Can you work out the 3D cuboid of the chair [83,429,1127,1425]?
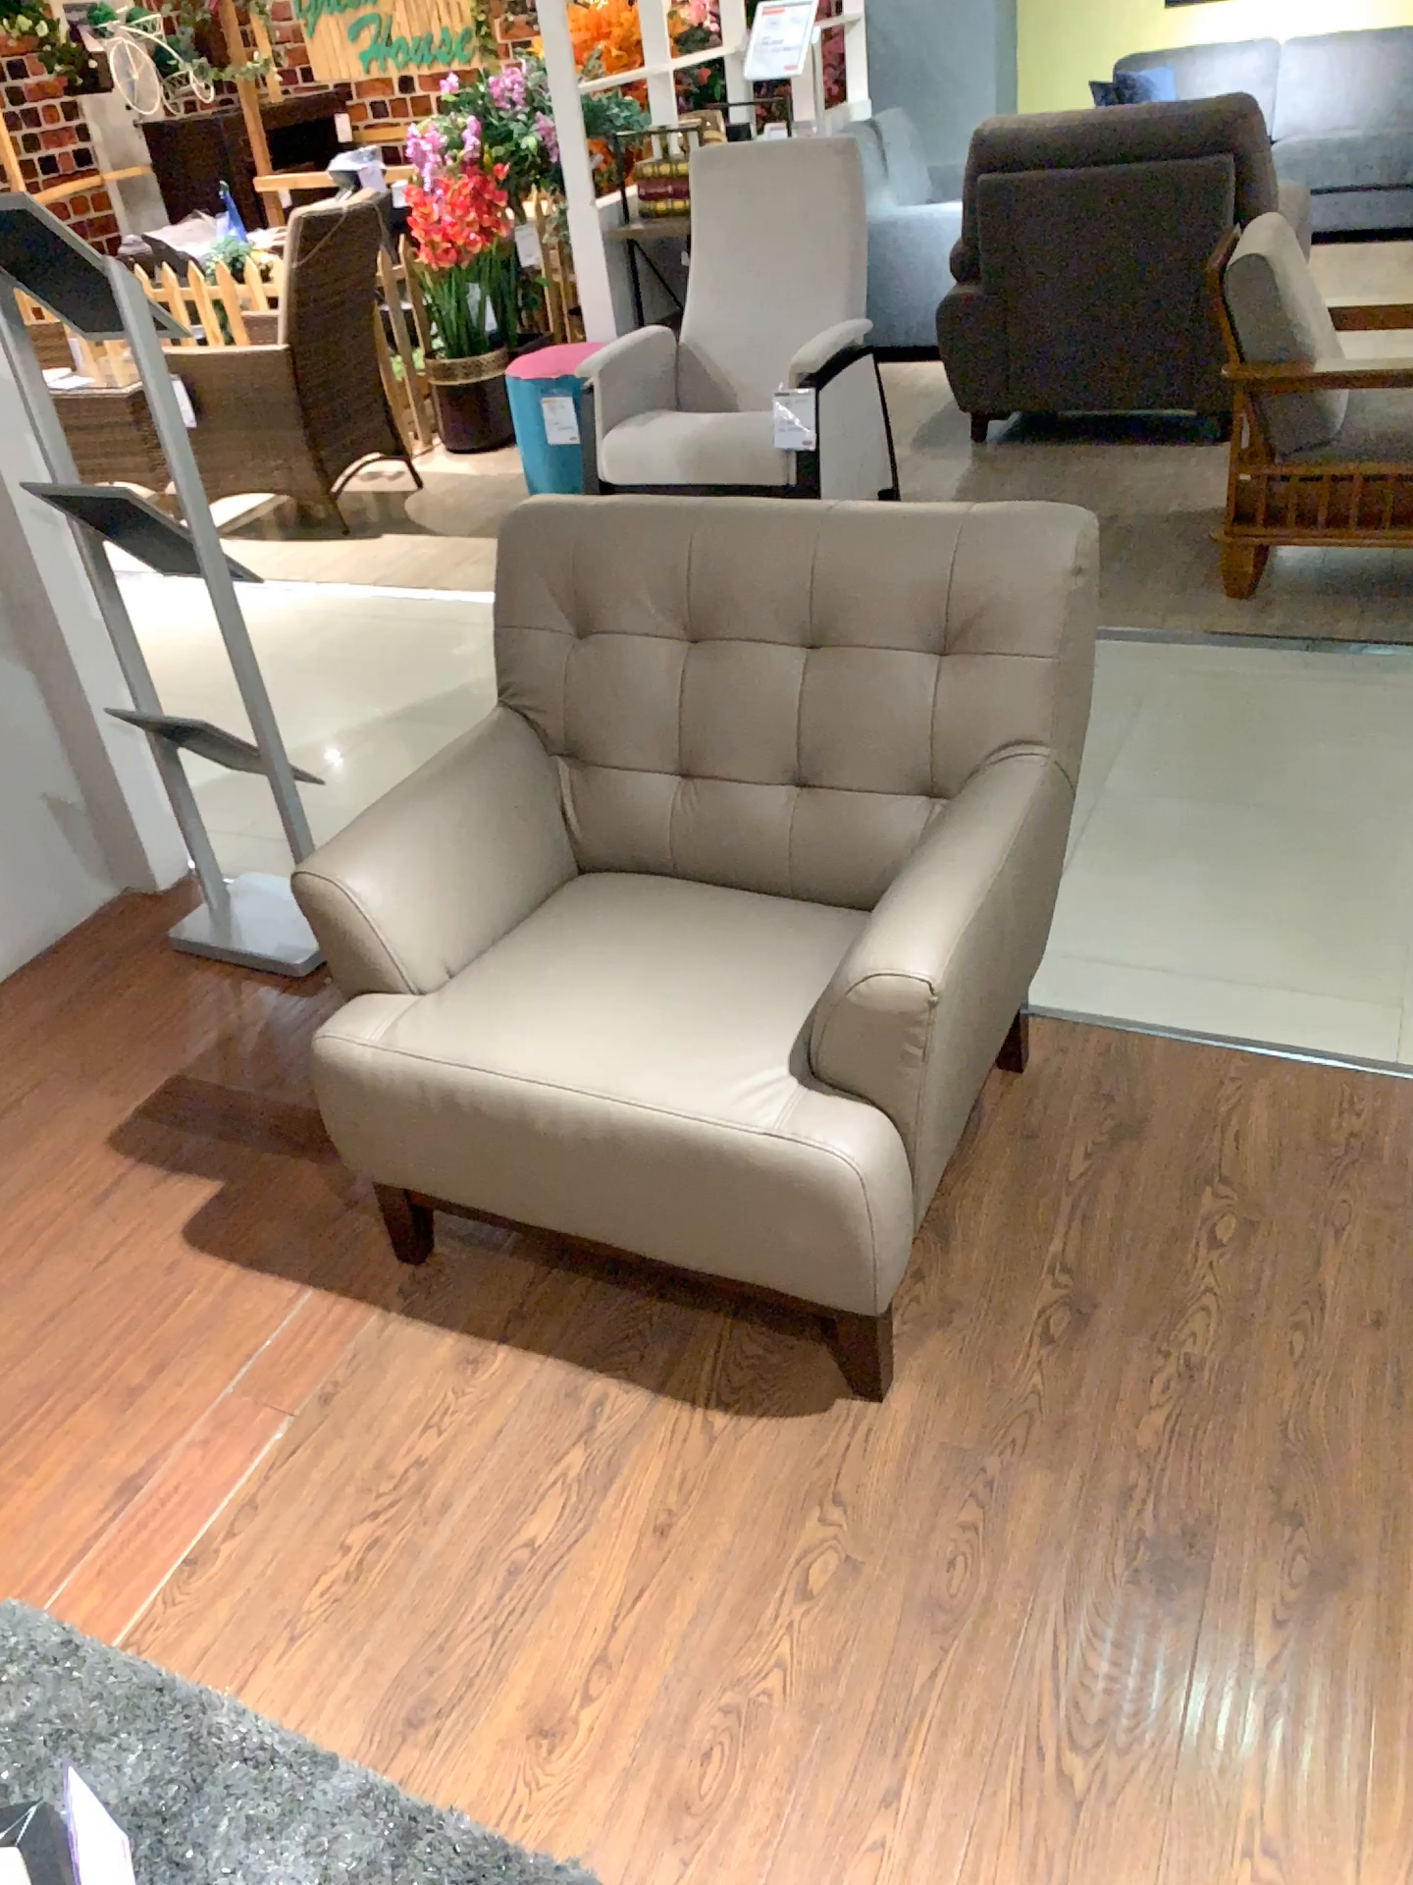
[{"bbox_3d":[-0.026,-0.131,2.040,0.952,0.856,1.003,11,37,23],"label":"chair"}]
